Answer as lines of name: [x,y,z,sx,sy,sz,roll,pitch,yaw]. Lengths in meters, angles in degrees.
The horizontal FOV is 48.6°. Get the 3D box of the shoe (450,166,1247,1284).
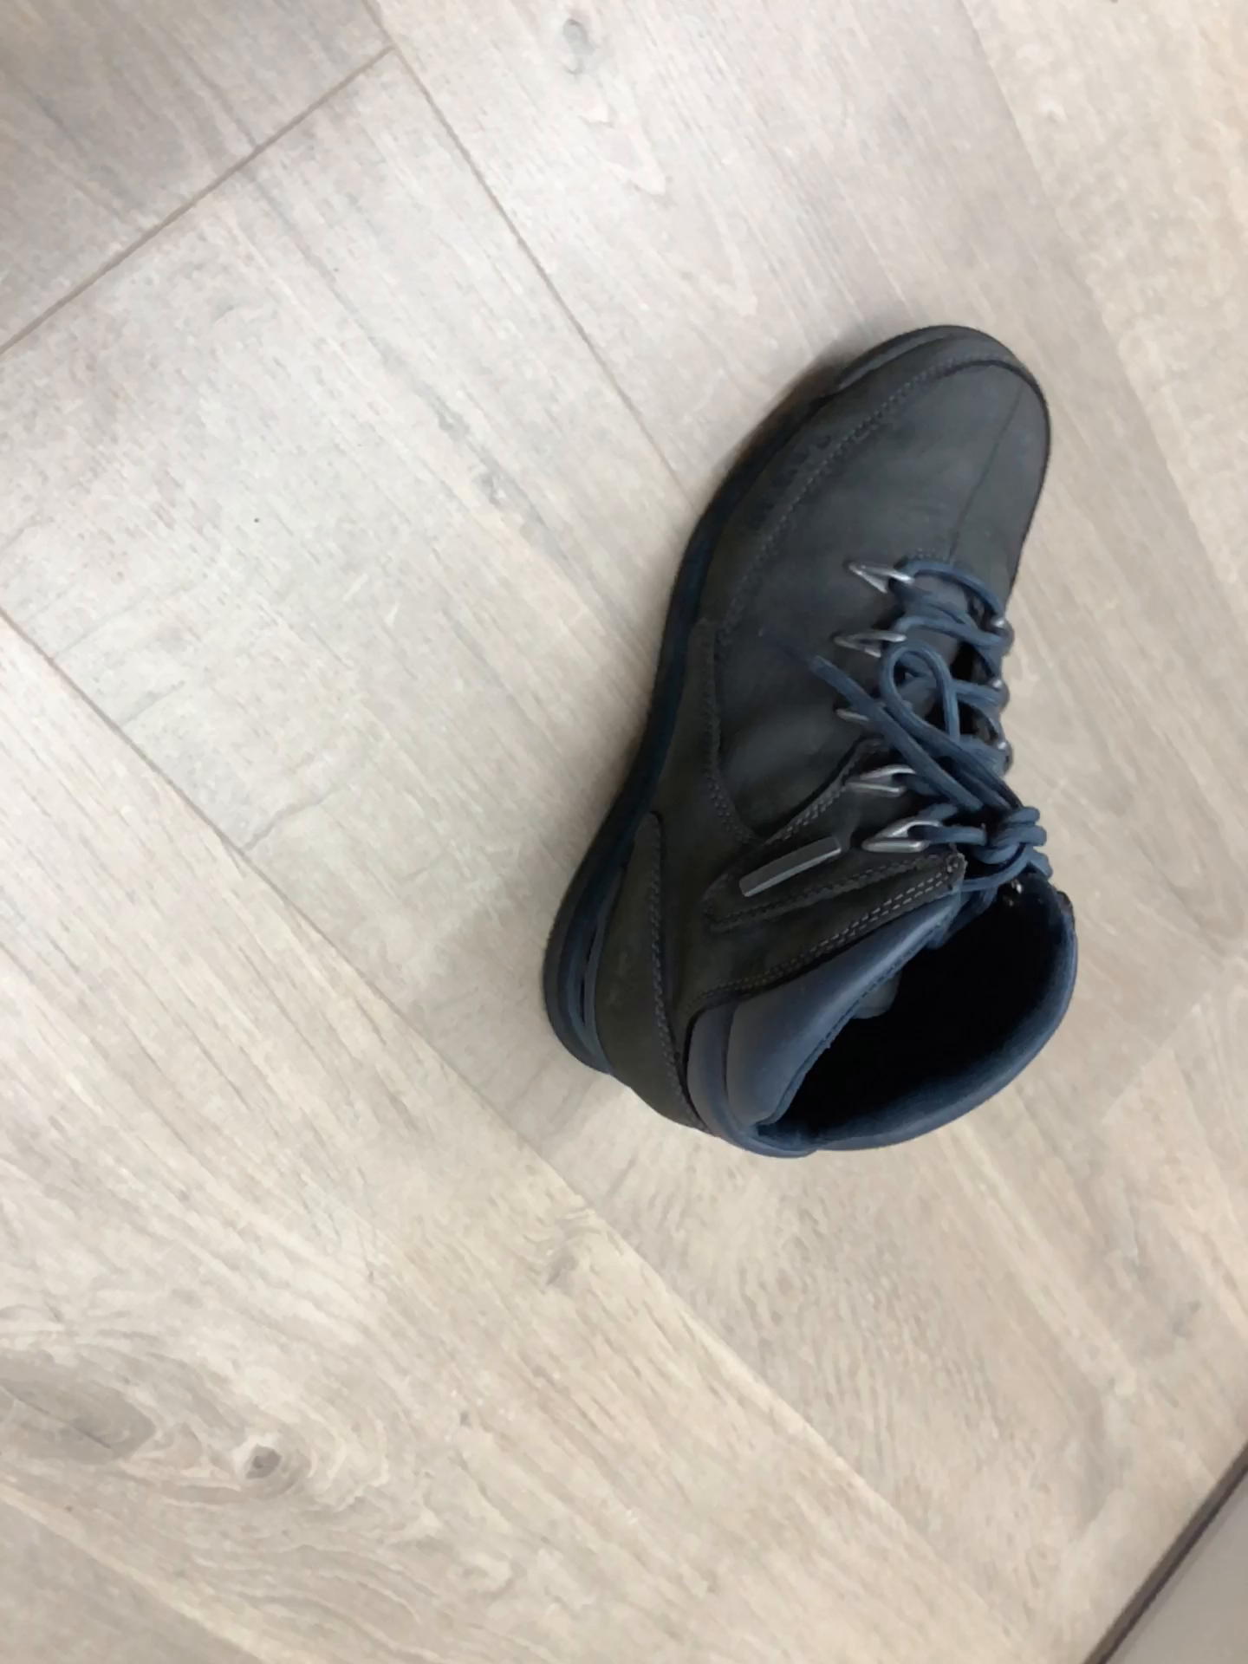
shoe: [0.078,-0.033,0.435,0.110,0.130,0.290,26,88,-31]
